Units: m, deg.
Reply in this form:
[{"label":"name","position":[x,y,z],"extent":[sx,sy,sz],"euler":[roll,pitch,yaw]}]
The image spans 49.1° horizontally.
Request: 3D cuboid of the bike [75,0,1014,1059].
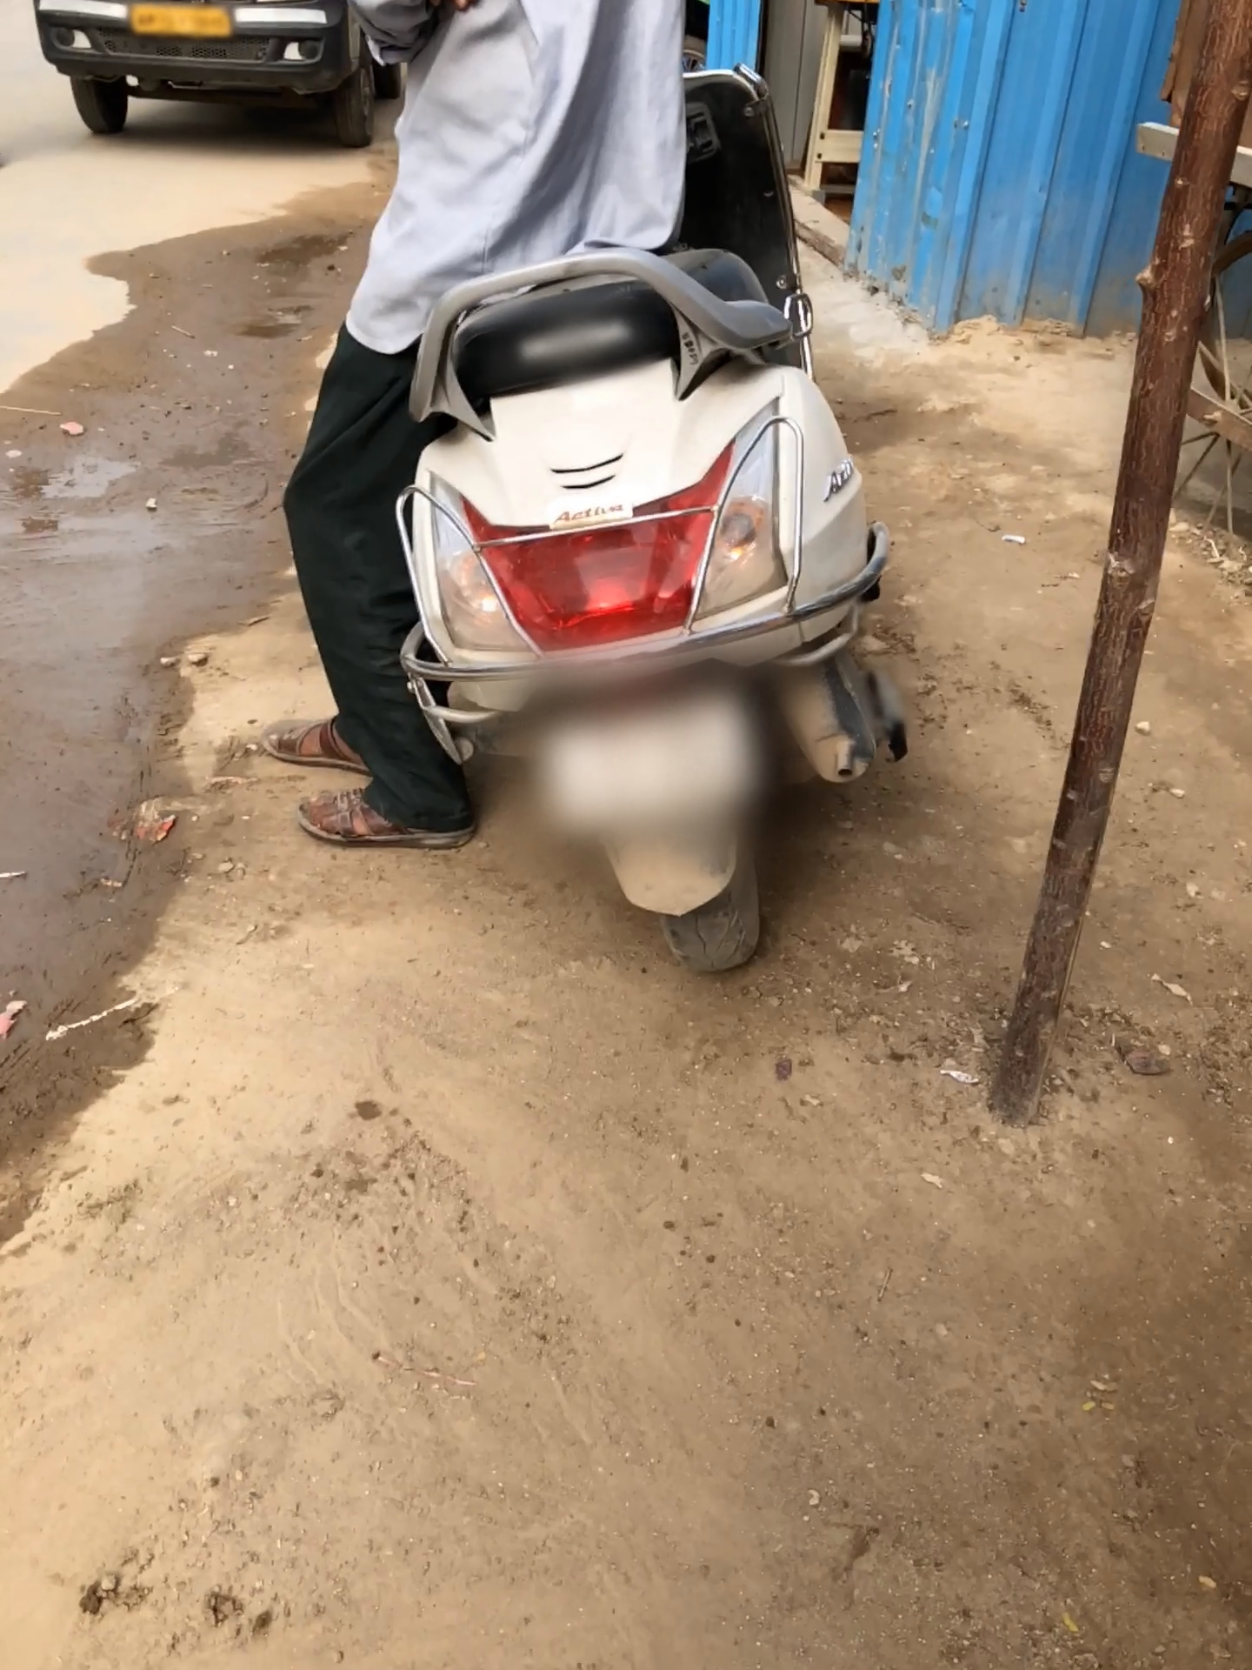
[{"label":"bike","position":[-0.103,-0.636,1.938],"extent":[0.655,1.112,1.586],"euler":[1,33,-3]}]
